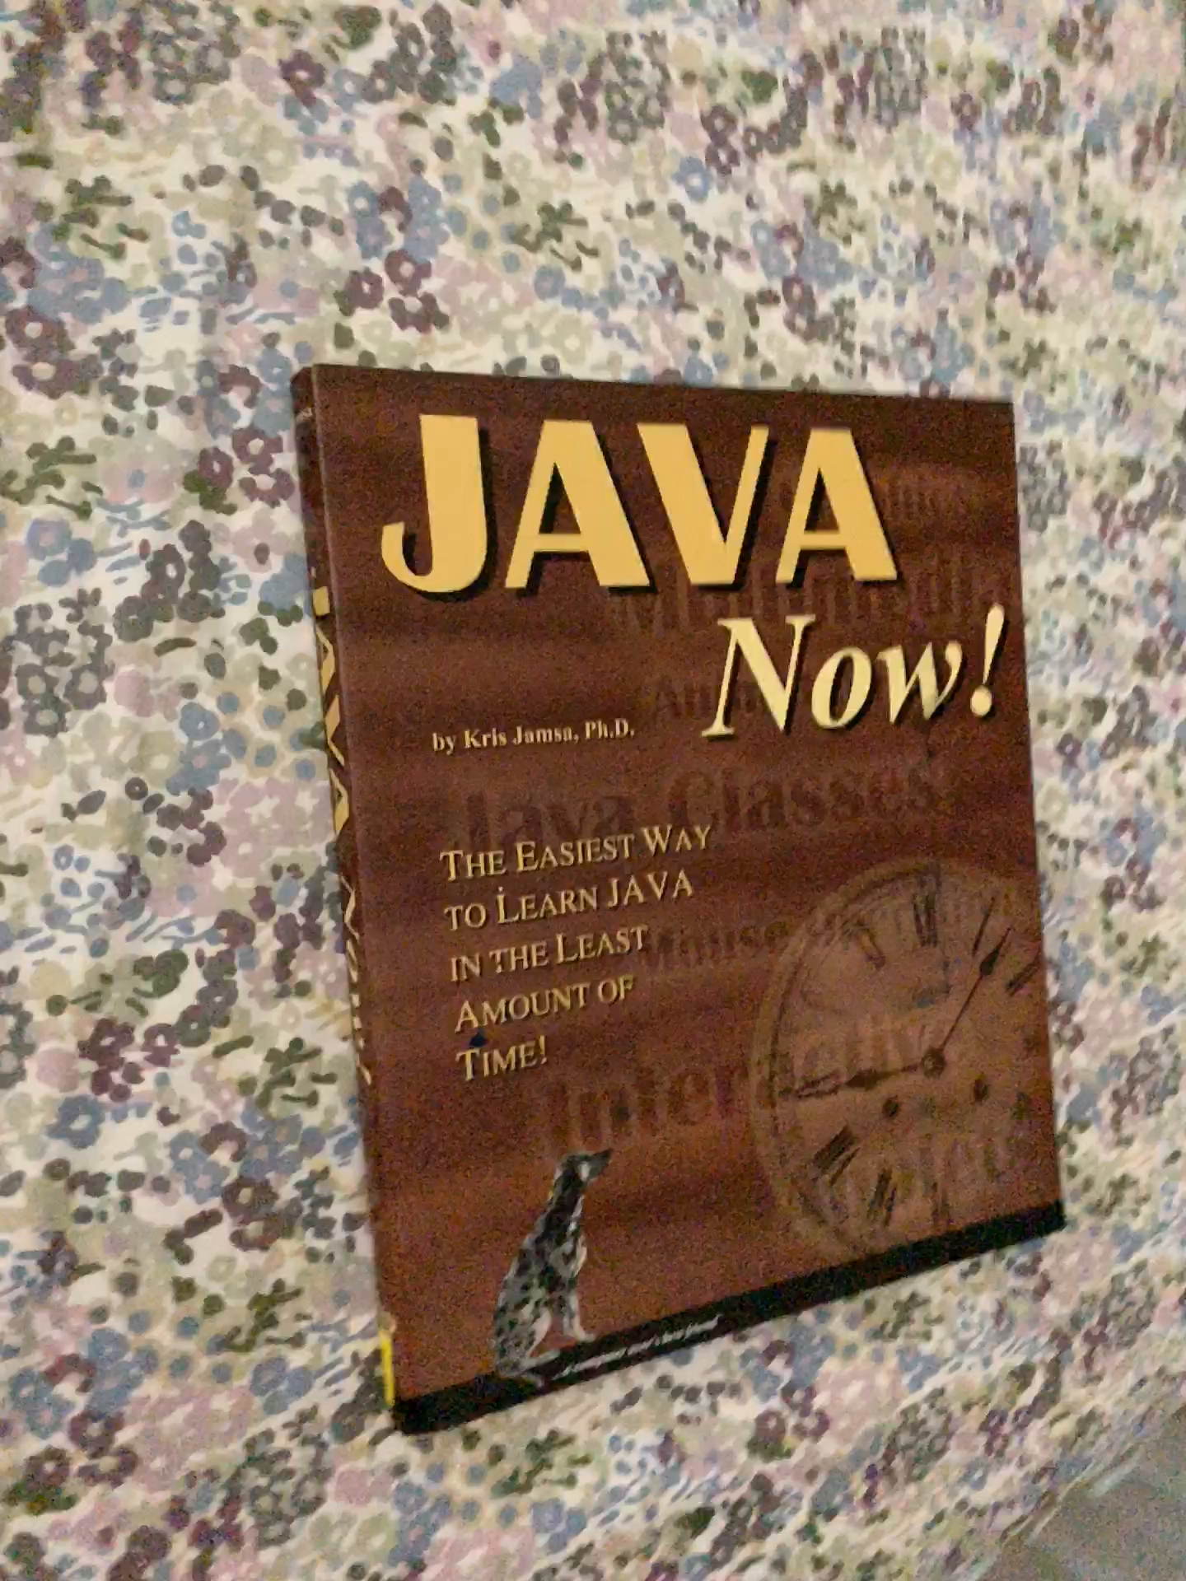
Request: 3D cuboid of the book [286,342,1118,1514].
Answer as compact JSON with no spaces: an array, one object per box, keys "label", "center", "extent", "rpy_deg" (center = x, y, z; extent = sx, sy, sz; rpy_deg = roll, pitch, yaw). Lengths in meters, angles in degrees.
[{"label":"book","center":[0.044,0.023,0.329],"extent":[0.221,0.030,0.260],"rpy_deg":[-6,94,-25]}]
